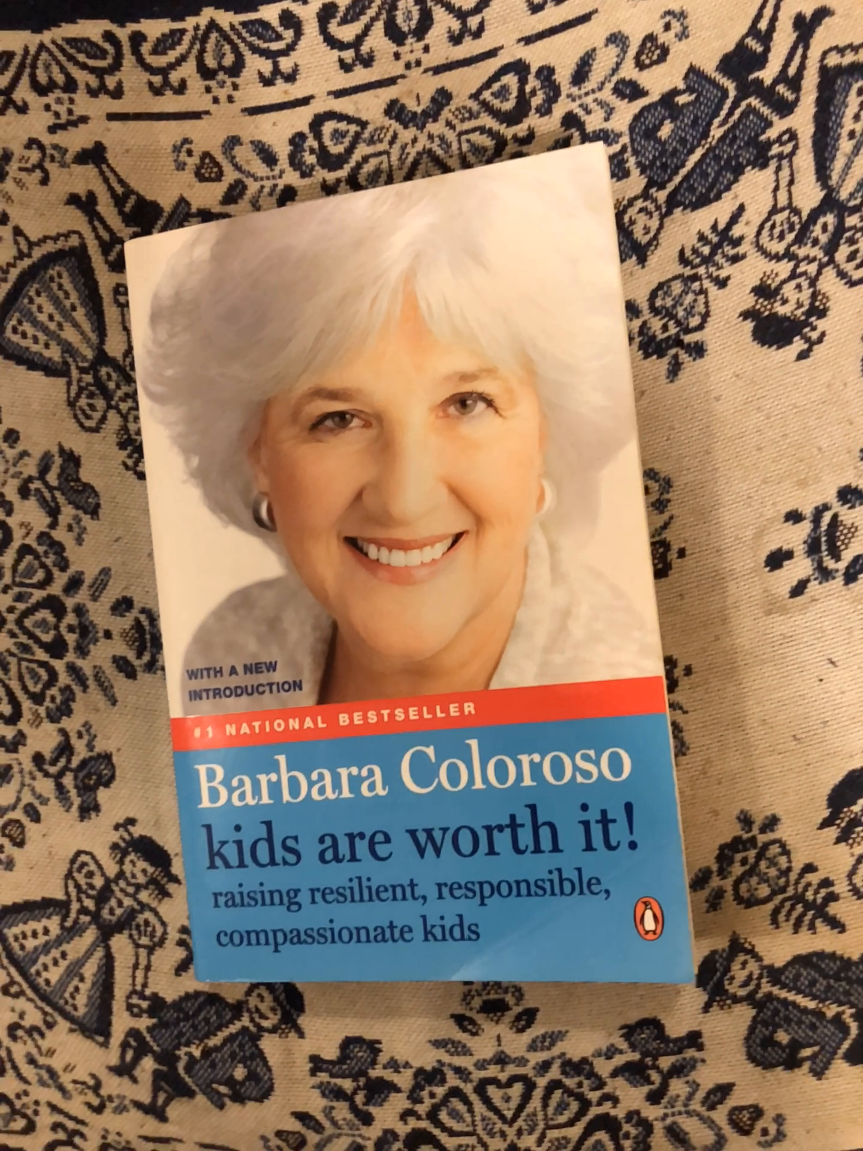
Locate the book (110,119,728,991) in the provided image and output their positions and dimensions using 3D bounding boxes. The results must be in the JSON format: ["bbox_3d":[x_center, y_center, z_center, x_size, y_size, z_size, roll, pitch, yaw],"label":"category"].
[{"bbox_3d":[-0.004,0.001,0.281,0.150,0.050,0.220,-5,89,12],"label":"book"}]
